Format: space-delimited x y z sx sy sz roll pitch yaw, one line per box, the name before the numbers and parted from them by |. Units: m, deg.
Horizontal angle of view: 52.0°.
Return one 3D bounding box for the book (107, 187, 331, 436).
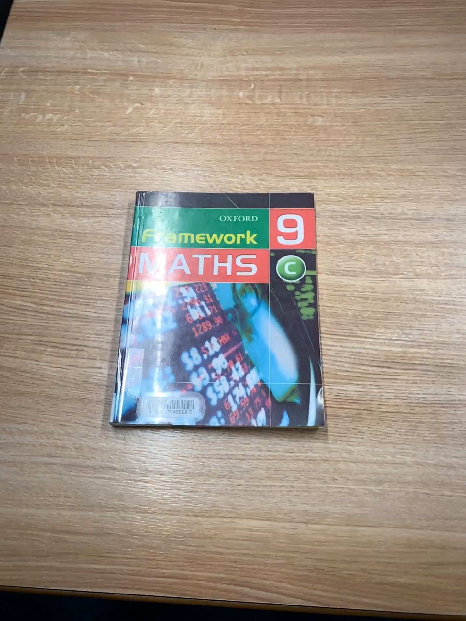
book | -0.010 -0.008 0.457 0.190 0.020 0.244 1 70 1
